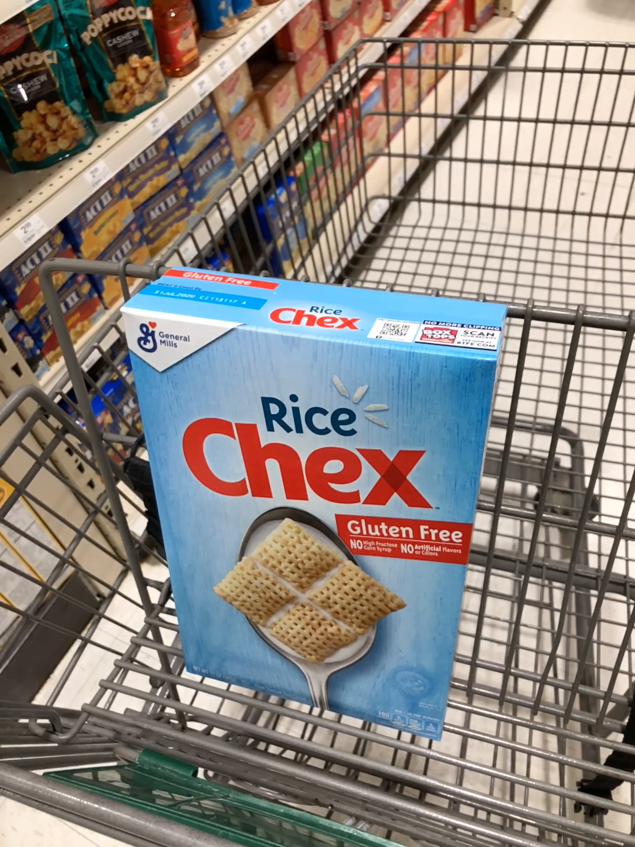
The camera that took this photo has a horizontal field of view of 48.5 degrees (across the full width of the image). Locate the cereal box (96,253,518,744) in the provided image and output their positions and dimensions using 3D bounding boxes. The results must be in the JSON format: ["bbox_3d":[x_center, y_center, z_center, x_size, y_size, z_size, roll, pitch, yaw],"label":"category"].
[{"bbox_3d":[-0.004,0.056,0.429,0.200,0.290,0.060,9,35,15],"label":"cereal box"}]
